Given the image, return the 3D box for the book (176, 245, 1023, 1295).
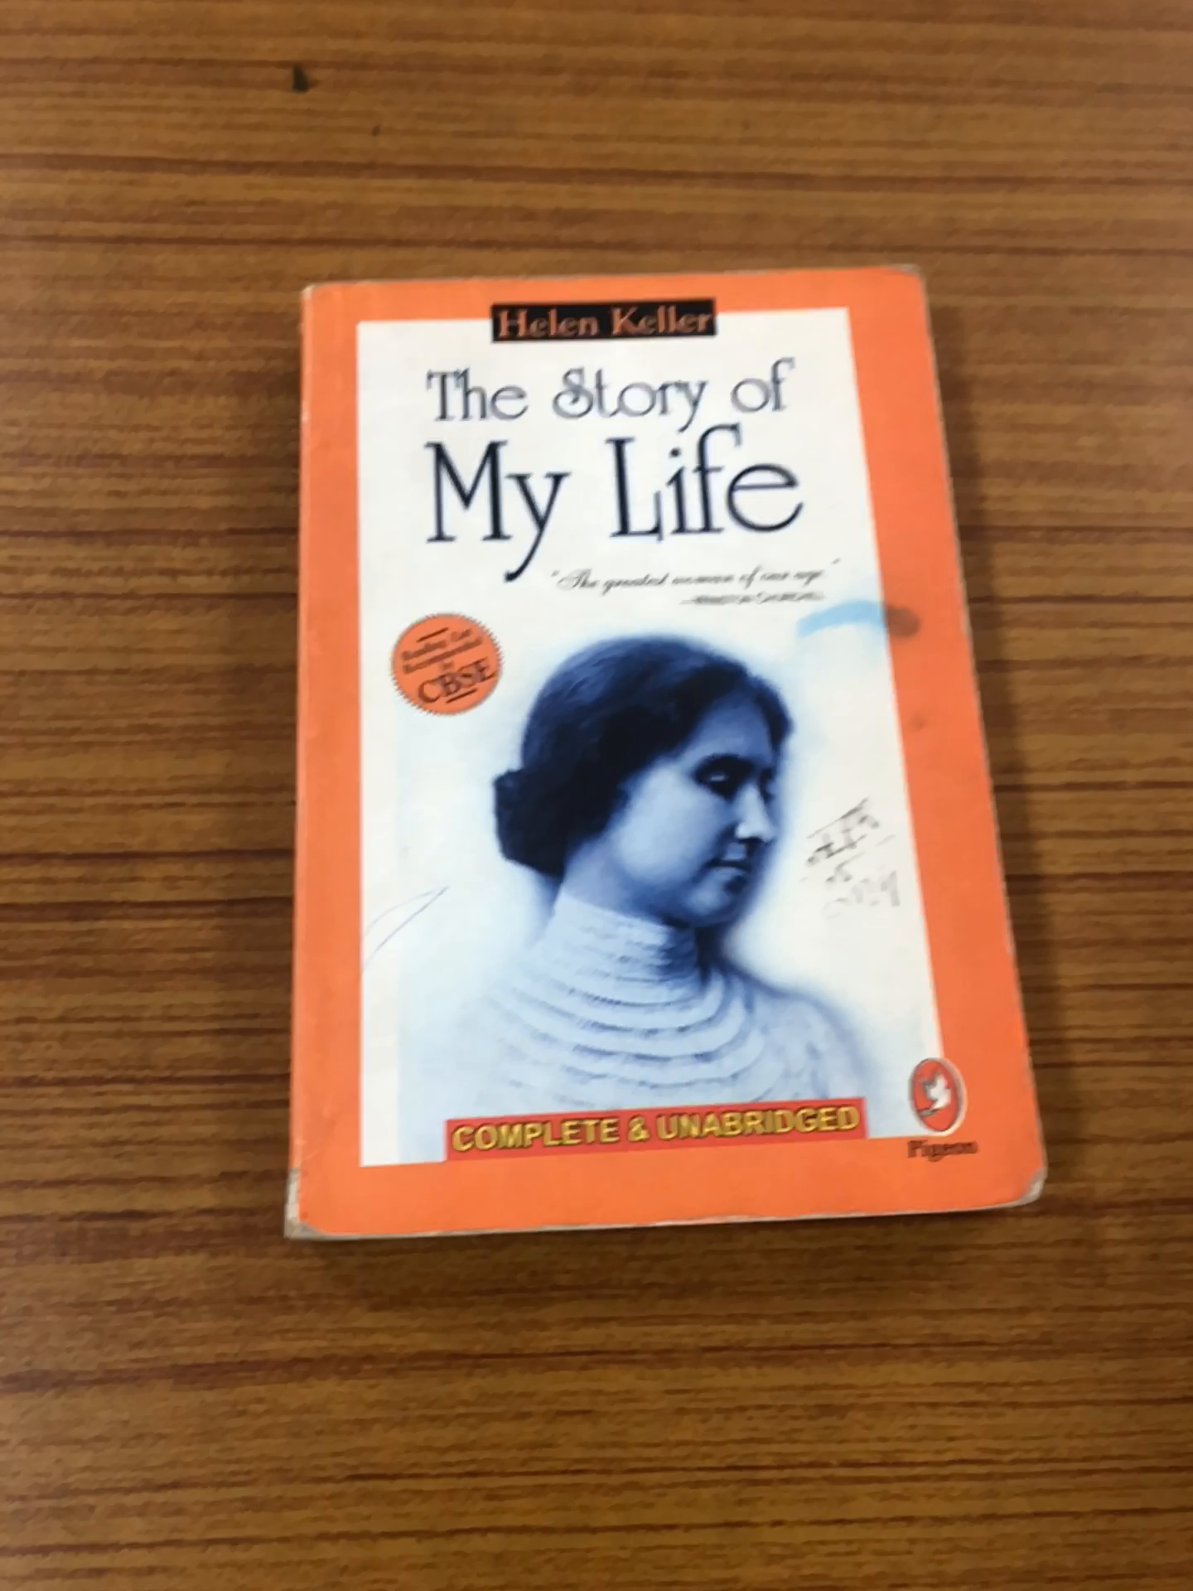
[{"bbox_3d":[-0.004,-0.010,0.227,0.120,0.030,0.170,-2,74,-3],"label":"book"}]
